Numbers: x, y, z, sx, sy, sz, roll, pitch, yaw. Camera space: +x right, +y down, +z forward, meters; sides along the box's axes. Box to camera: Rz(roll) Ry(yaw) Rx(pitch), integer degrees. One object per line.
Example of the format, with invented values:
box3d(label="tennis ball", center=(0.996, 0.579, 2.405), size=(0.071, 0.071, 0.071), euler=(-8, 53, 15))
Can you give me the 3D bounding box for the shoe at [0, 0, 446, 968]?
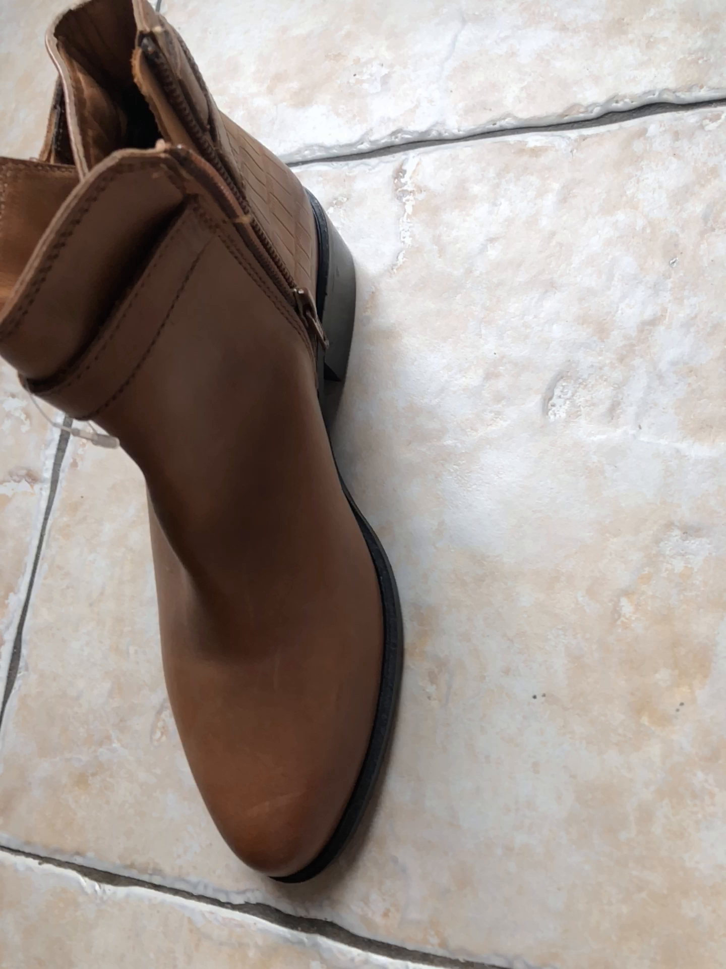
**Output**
box3d(label="shoe", center=(-0.048, -0.018, 0.267), size=(0.090, 0.180, 0.301), euler=(-7, 72, 21))
